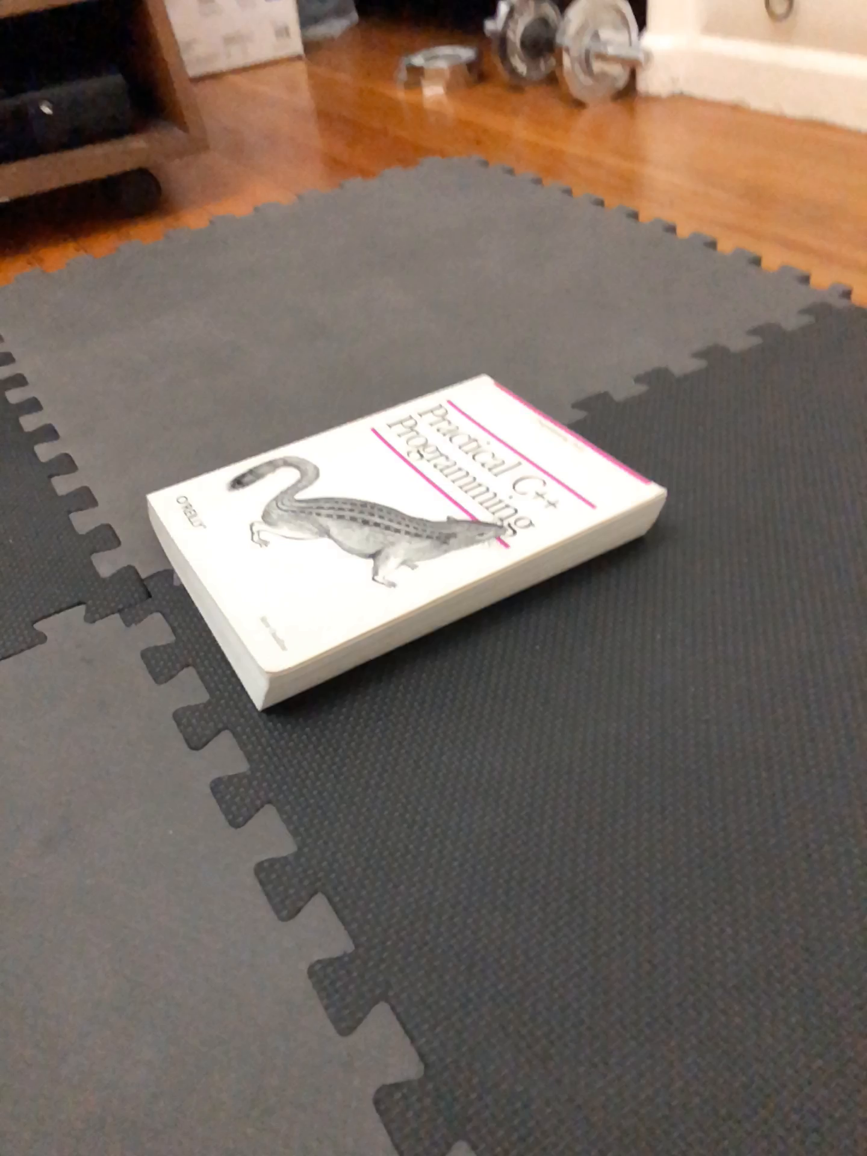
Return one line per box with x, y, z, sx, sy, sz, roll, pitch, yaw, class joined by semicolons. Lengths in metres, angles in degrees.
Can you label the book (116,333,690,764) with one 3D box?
-0.022;-0.037;0.540;0.250;0.050;0.201;-24;47;-20;book
